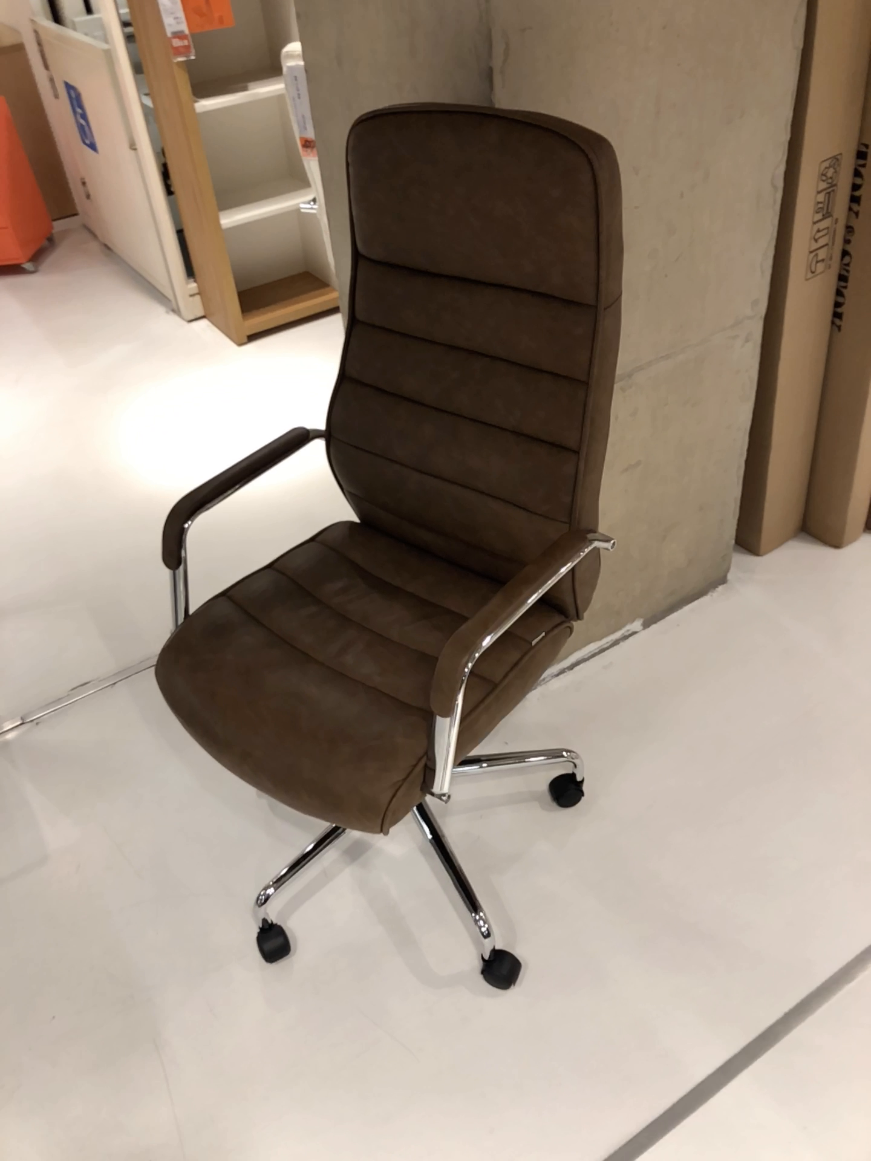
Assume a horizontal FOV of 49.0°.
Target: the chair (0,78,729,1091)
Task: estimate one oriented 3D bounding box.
[{"bbox_3d":[-0.120,-0.022,1.240,0.643,0.962,0.633,27,49,34],"label":"chair"}]
